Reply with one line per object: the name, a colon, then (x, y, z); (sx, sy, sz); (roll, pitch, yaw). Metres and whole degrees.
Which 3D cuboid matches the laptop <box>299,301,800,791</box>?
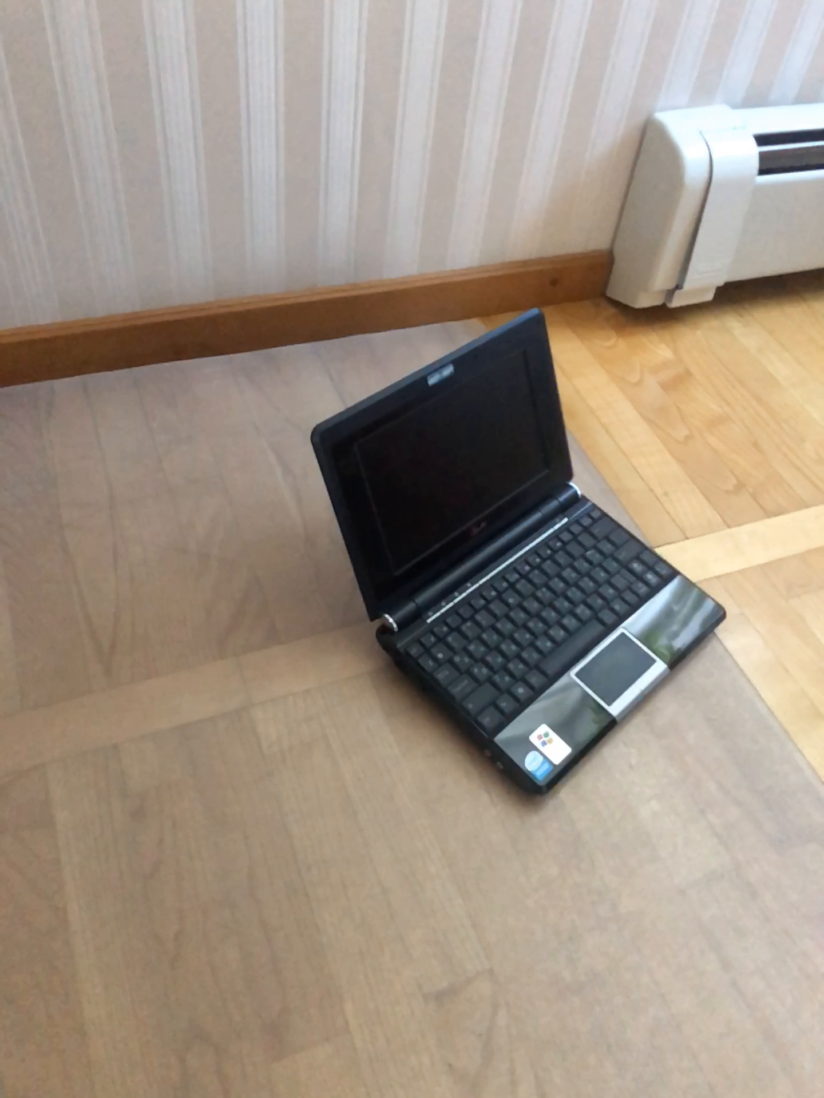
laptop: (0.101, -0.020, 0.739); (0.265, 0.159, 0.276); (-34, 63, -32)
